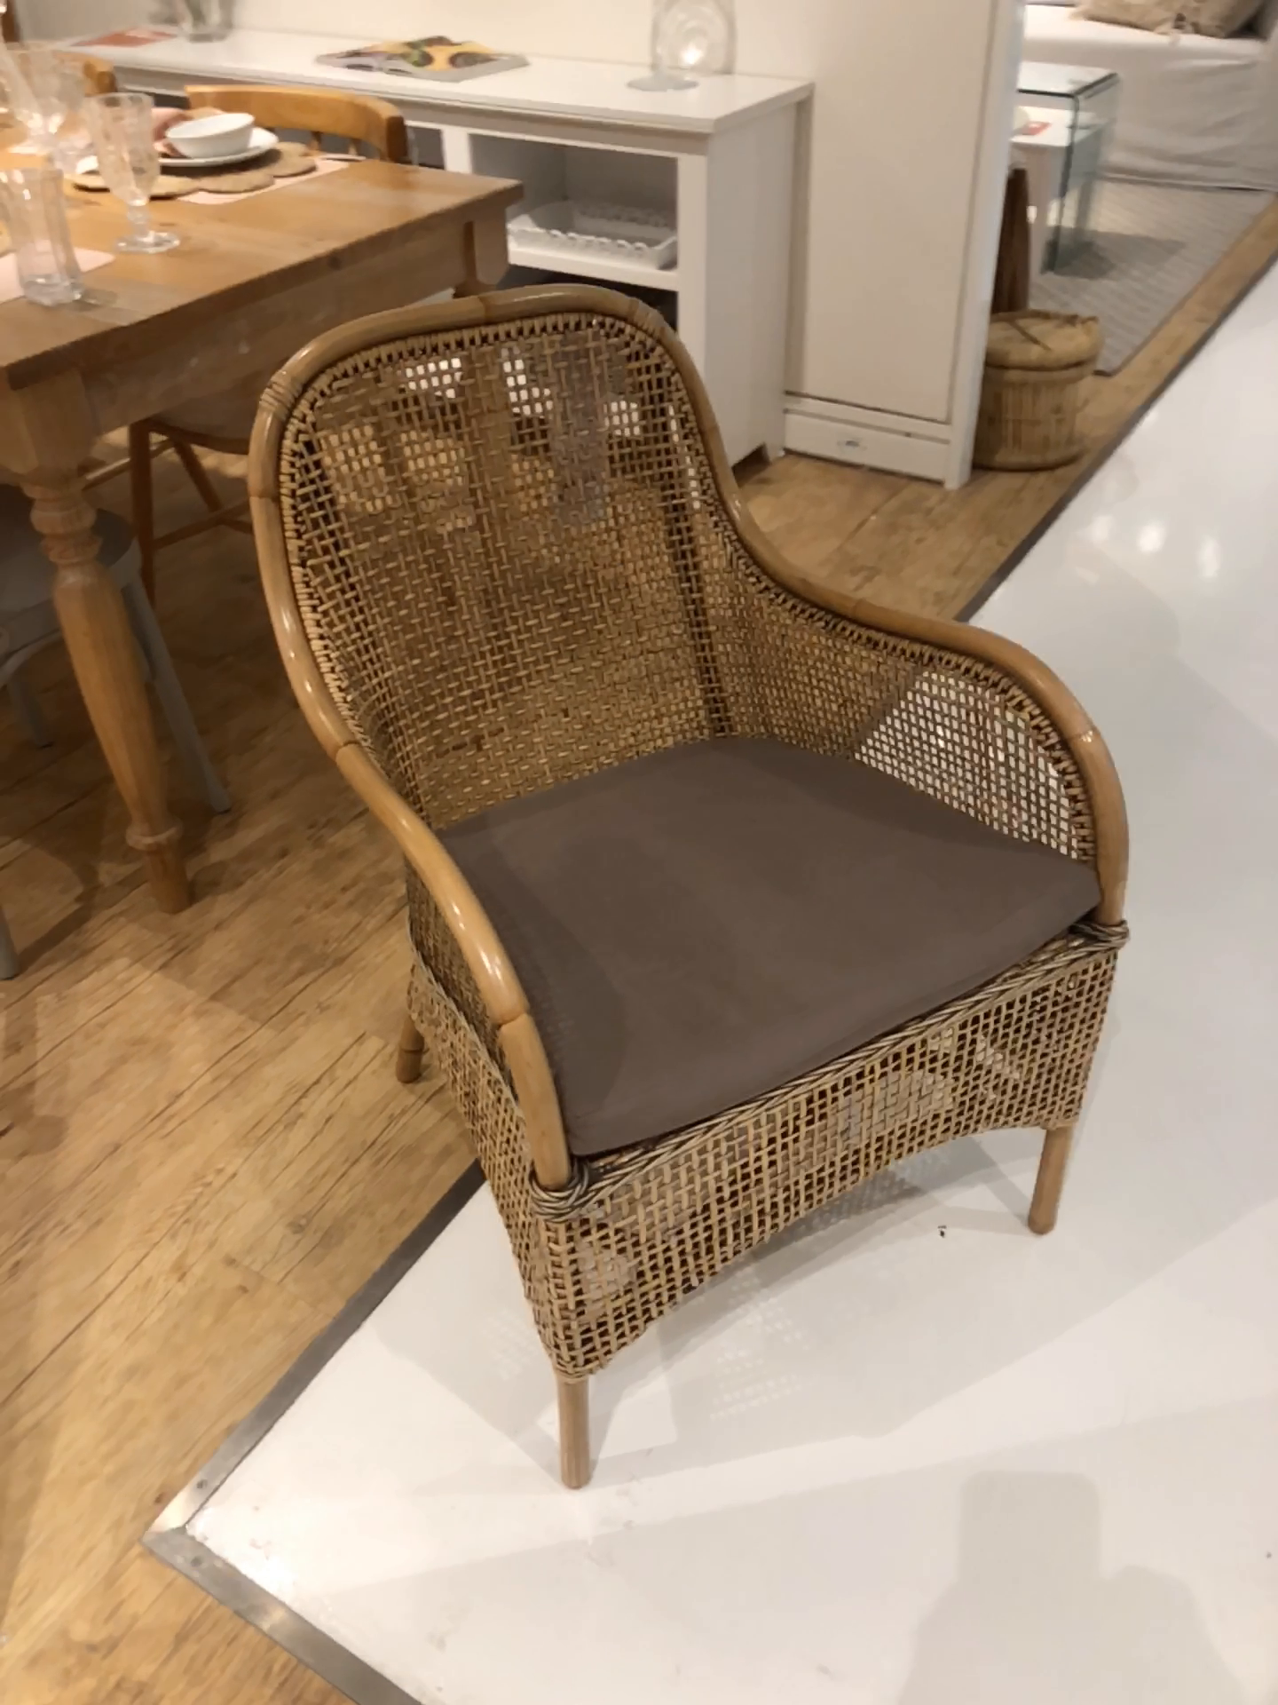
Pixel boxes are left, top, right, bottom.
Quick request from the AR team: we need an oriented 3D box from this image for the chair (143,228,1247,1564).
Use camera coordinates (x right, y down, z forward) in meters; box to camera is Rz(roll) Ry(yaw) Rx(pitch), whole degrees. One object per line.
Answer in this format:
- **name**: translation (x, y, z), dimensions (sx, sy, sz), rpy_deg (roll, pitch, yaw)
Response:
- **chair**: translation (0.015, 0.015, 1.288), dimensions (0.541, 0.903, 0.623), rpy_deg (-22, 42, -25)
